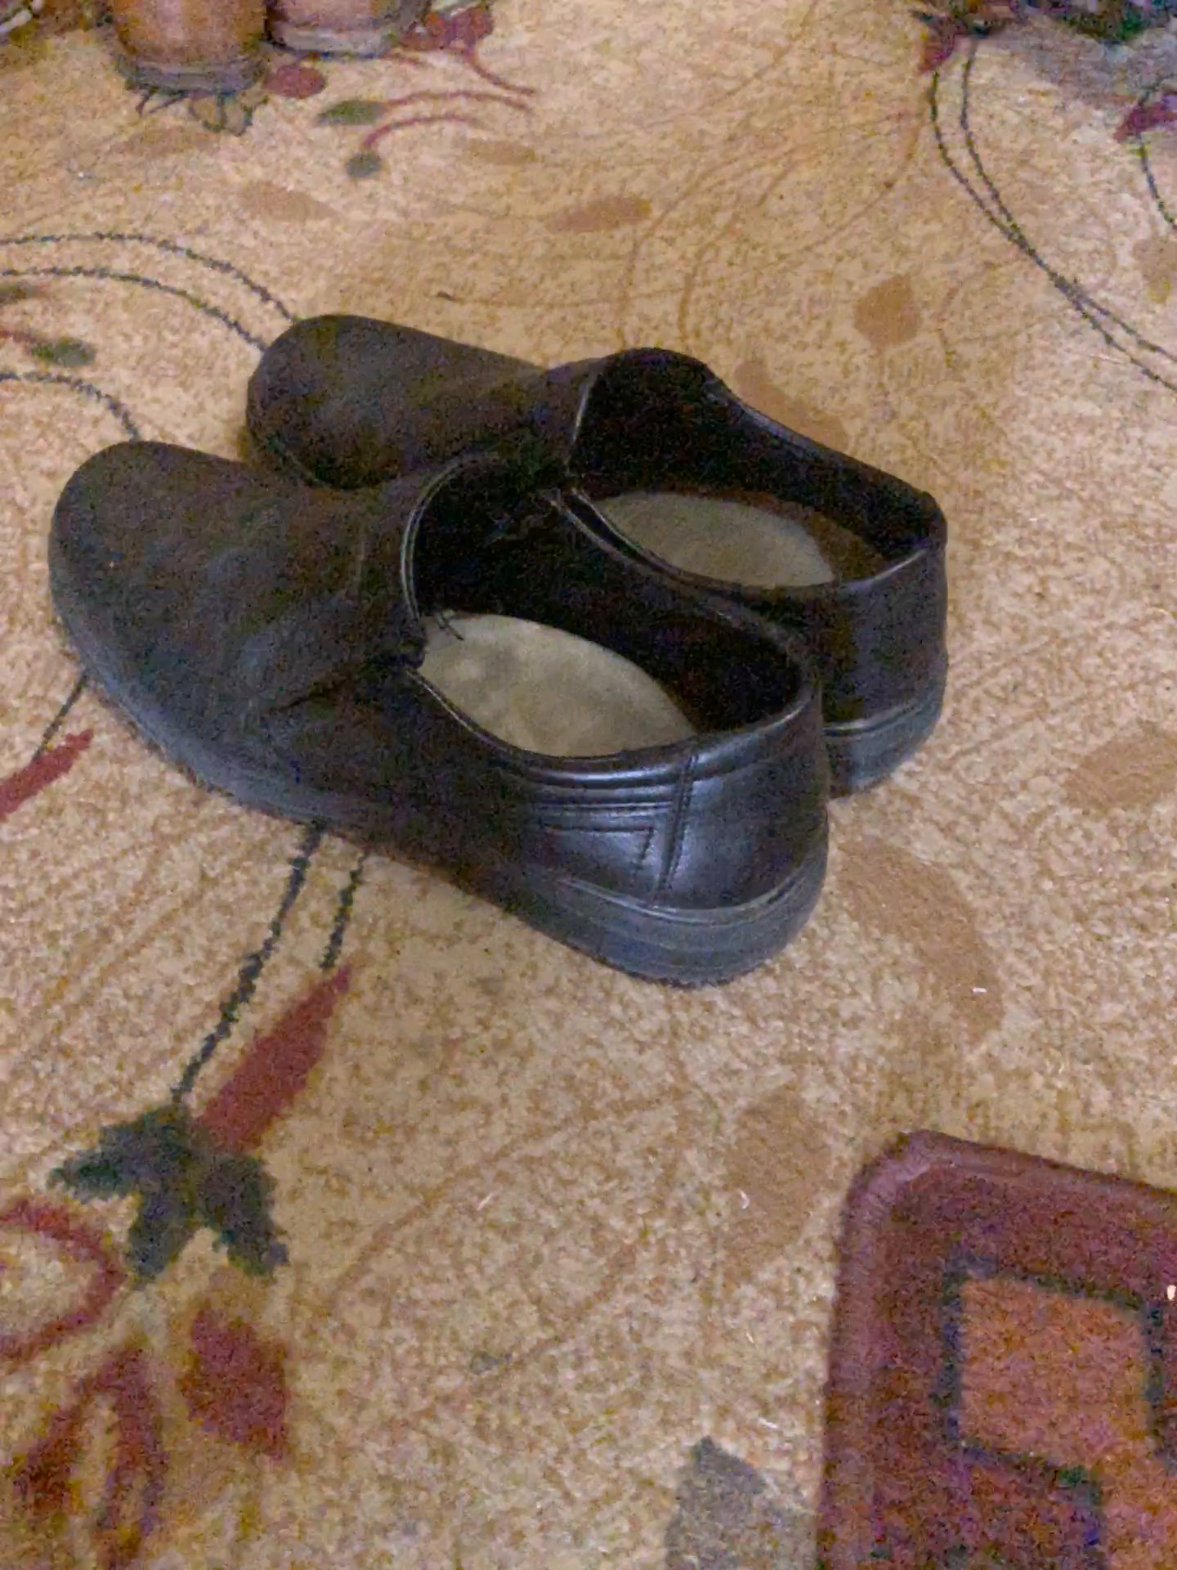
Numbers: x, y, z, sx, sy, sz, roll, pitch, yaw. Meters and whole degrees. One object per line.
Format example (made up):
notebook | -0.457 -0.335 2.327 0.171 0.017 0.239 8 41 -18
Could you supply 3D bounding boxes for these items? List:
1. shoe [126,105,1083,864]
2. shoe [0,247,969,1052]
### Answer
shoe | -0.007 -0.112 0.408 0.291 0.099 0.100 34 59 20
shoe | -0.056 -0.048 0.360 0.290 0.099 0.101 24 56 14
